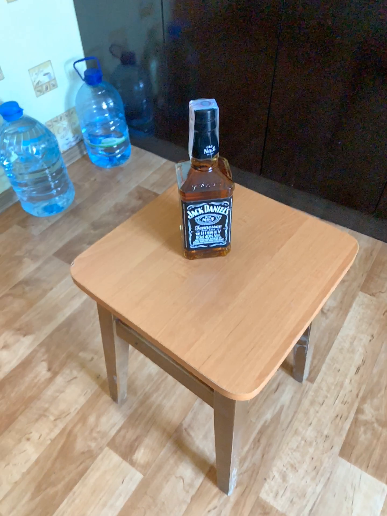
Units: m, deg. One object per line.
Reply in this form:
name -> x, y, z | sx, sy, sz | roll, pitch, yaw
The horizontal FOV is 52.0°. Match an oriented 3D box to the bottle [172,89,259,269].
bottle -> 0.022, -0.090, 0.504 | 0.080, 0.209, 0.080 | 0, 47, 0
